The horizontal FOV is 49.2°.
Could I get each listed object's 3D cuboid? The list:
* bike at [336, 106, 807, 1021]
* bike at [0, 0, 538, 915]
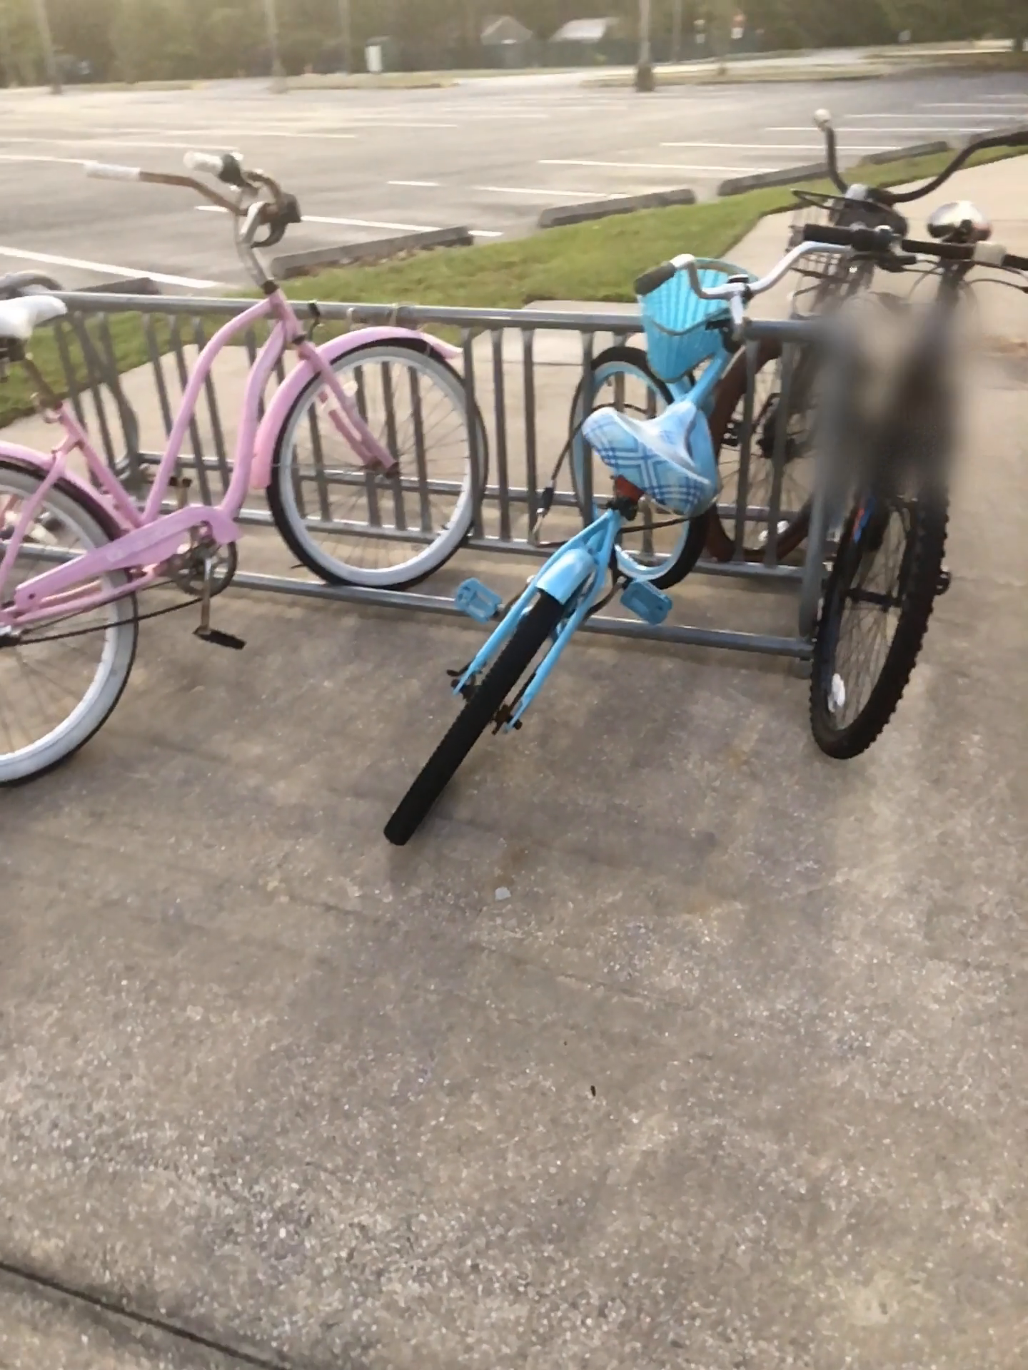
[{"bbox_3d":[0.209,-0.392,2.144,0.583,0.953,1.425,5,36,14],"label":"bike"},{"bbox_3d":[-0.779,-0.654,2.378,0.774,1.146,1.610,22,45,37],"label":"bike"}]
